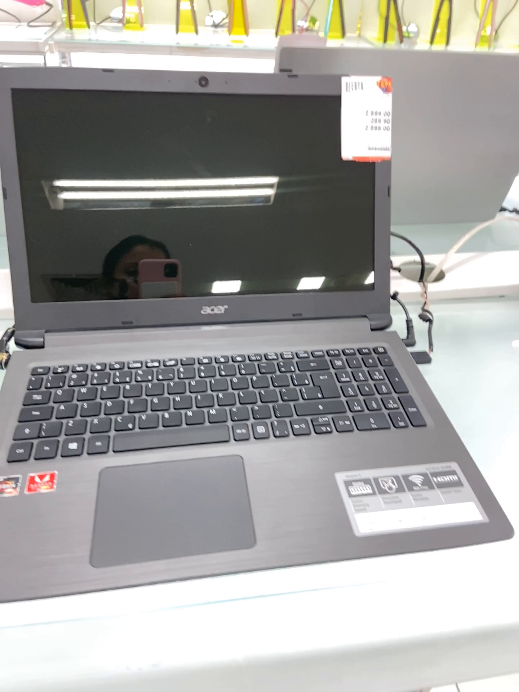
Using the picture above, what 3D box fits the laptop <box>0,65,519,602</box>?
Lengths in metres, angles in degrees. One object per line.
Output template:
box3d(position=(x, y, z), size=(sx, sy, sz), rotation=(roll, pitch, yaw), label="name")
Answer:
box3d(position=(-0.031, -0.059, 0.390), size=(0.341, 0.194, 0.355), rotation=(-3, 38, -8), label="laptop")
